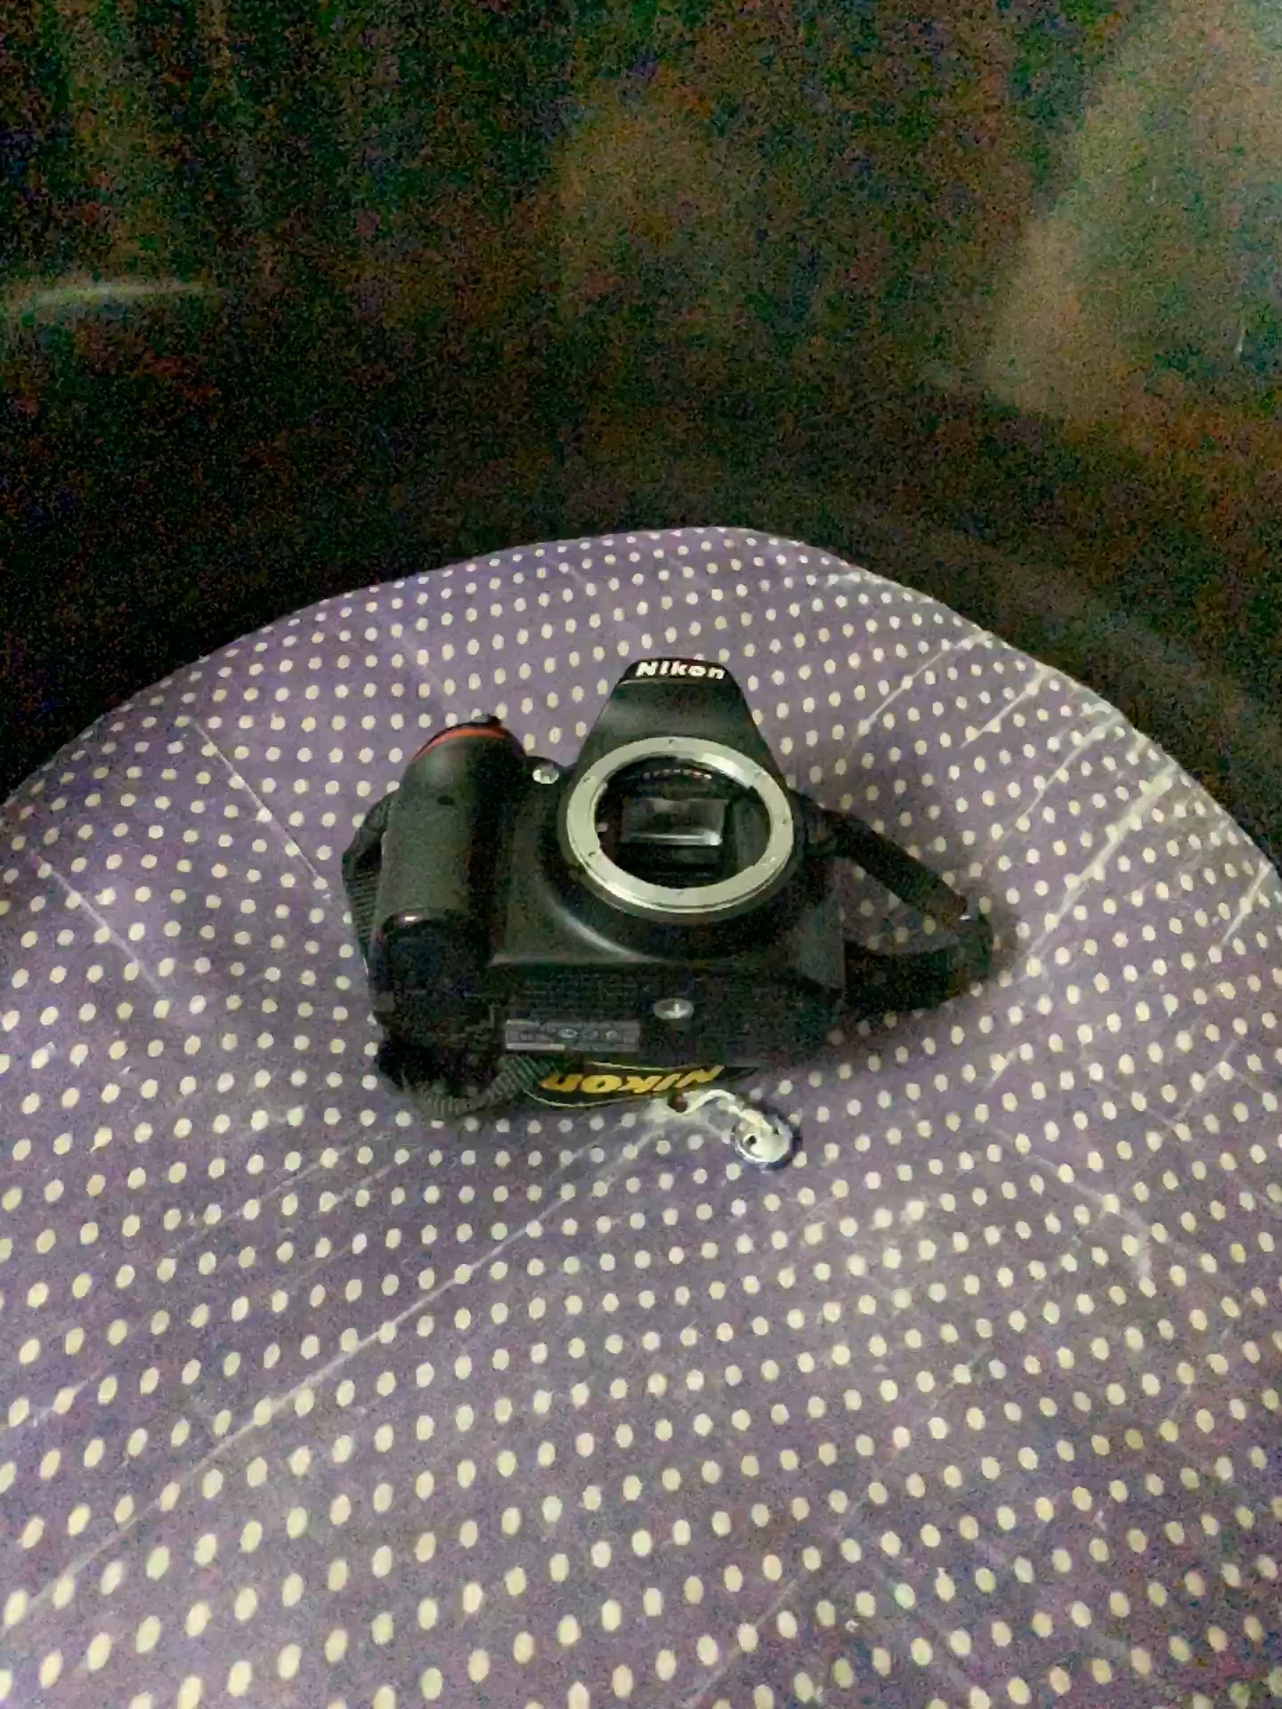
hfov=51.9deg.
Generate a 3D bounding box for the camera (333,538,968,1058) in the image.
[{"bbox_3d":[-0.002,-0.014,0.353,0.140,0.080,0.110,1,52,-6],"label":"camera"}]
